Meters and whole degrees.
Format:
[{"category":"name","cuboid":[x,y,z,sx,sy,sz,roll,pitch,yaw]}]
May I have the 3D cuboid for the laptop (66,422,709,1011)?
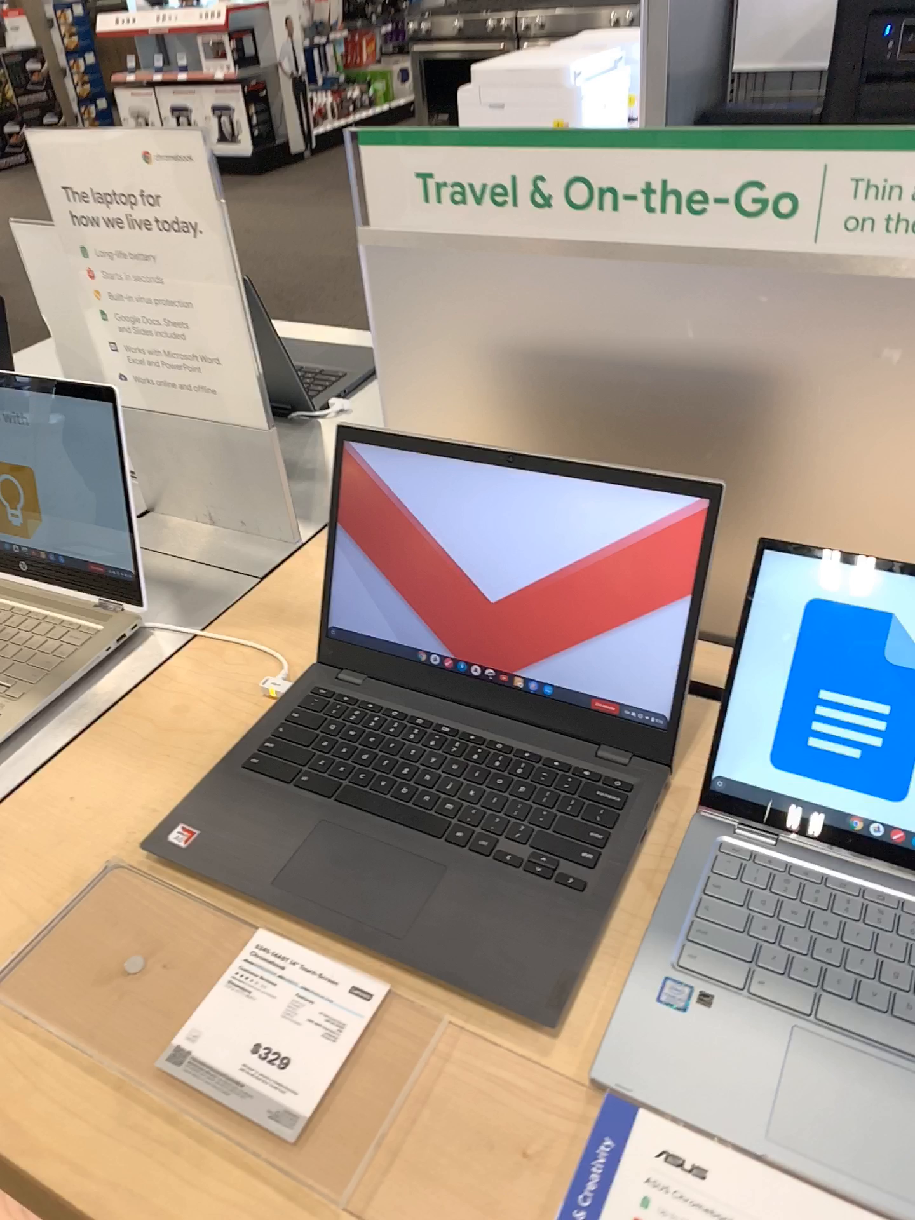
[{"category":"laptop","cuboid":[-0.025,0.039,0.657,0.310,0.188,0.300,14,40,25]}]
